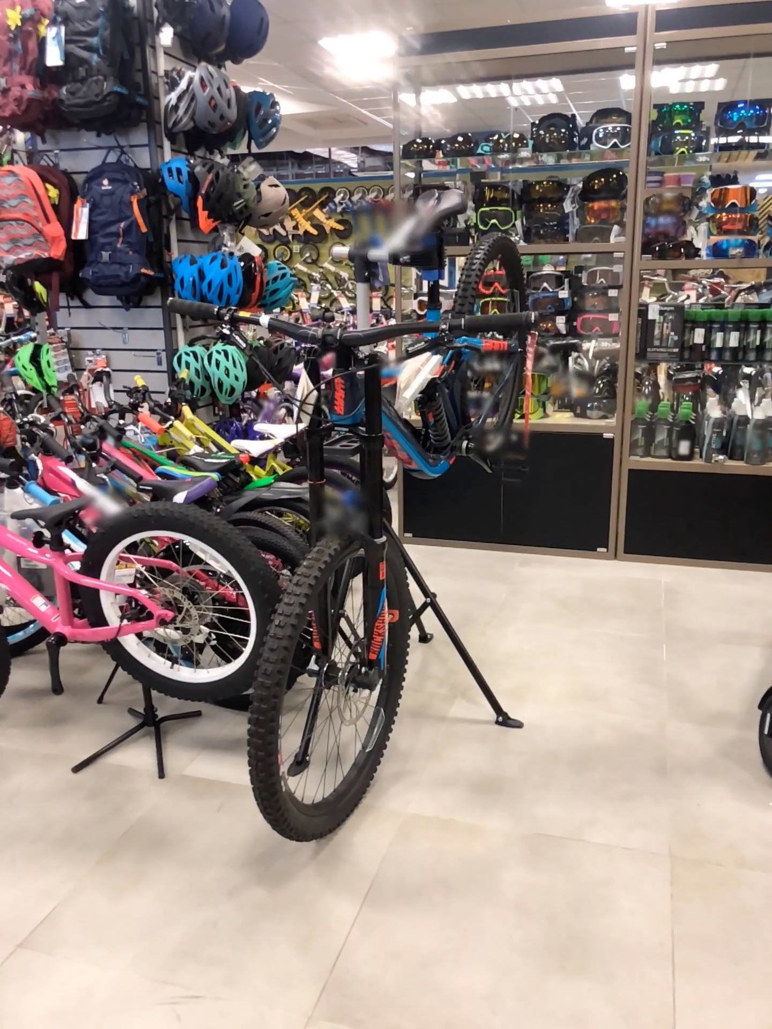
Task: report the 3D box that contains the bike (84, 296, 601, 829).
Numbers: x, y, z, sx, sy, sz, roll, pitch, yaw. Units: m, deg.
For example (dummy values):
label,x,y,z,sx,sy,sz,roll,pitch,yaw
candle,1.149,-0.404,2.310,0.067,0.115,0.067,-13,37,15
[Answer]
label,x,y,z,sx,sy,sz,roll,pitch,yaw
bike,0.008,-0.067,2.087,0.659,0.181,1.530,8,44,25
